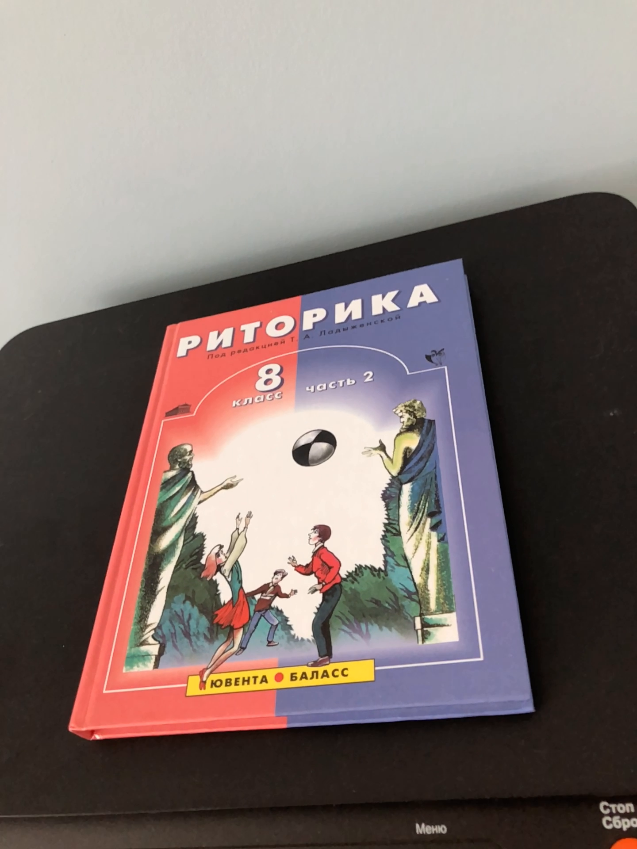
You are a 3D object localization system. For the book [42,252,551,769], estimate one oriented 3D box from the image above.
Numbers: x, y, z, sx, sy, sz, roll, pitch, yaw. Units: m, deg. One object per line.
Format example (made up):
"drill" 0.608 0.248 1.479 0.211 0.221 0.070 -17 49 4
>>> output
"book" -0.009 0.022 0.302 0.170 0.020 0.221 -10 49 14
